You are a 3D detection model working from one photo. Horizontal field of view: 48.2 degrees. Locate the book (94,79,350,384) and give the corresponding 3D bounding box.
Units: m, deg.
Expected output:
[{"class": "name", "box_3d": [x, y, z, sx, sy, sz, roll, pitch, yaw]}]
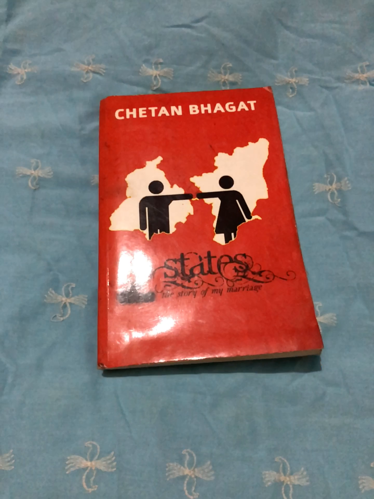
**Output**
[{"class": "book", "box_3d": [0.012, -0.022, 0.278, 0.140, 0.030, 0.200, -4, 68, -3]}]
